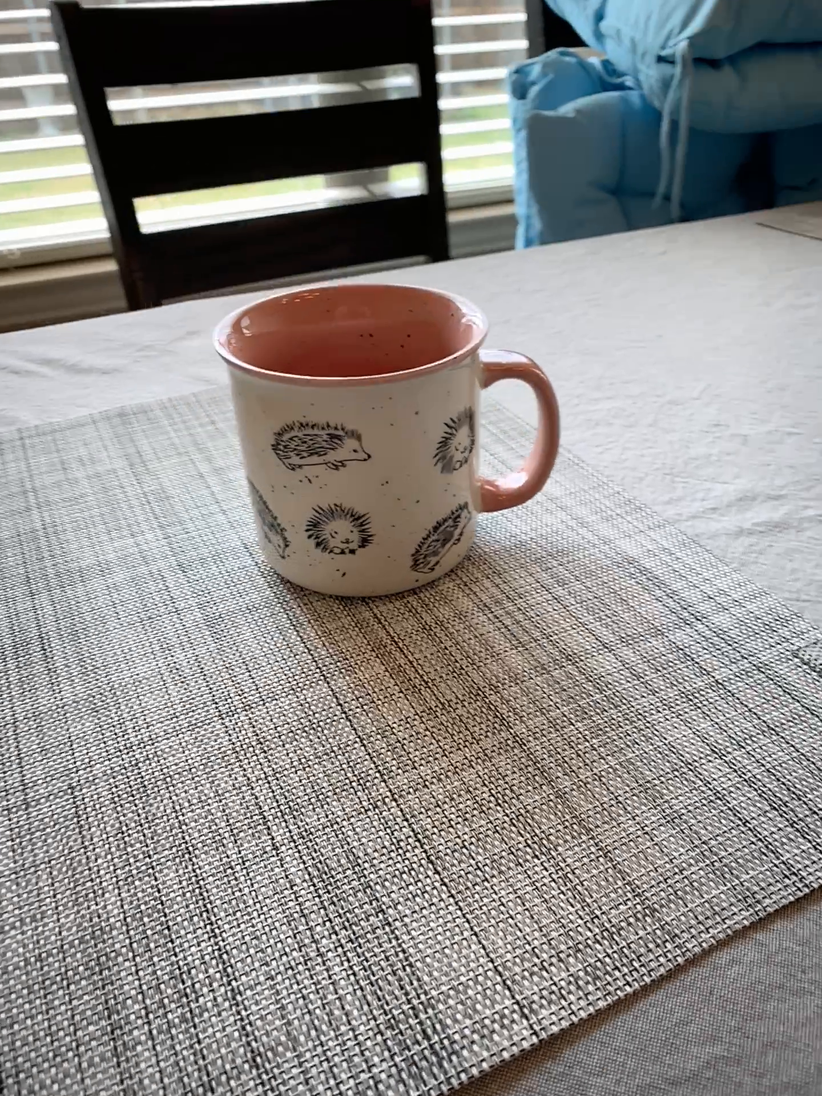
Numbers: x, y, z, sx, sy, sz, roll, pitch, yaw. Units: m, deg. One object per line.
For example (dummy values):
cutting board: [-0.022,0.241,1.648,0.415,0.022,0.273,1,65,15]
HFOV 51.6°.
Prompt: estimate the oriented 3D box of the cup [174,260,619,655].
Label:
cup: [-0.012,-0.049,0.372,0.150,0.106,0.121,-12,35,-15]
